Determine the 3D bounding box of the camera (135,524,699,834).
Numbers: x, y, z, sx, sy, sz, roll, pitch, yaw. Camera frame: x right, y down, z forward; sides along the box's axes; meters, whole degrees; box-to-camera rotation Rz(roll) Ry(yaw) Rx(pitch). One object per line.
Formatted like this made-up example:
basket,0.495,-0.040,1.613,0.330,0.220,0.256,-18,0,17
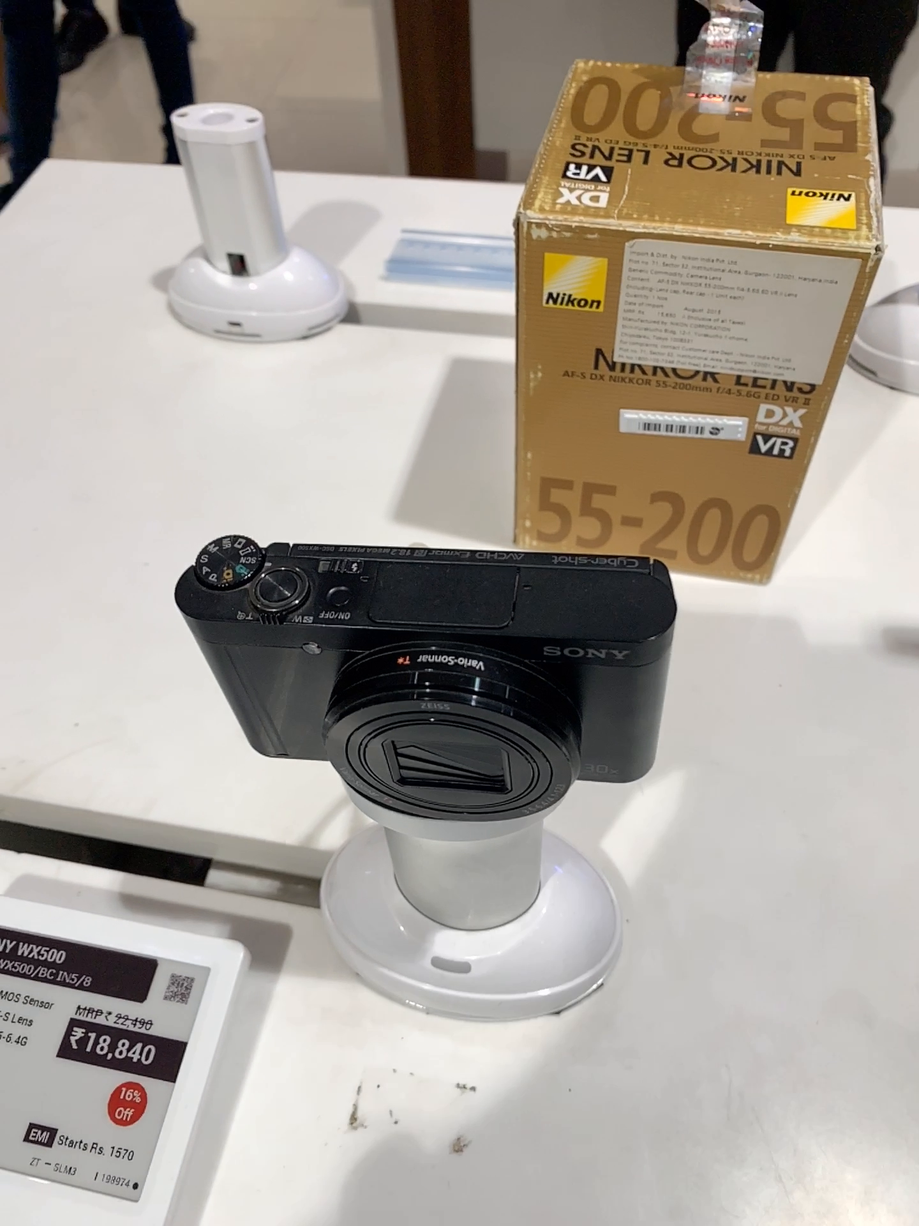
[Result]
camera,-0.006,0.015,0.199,0.100,0.060,0.030,4,53,7
